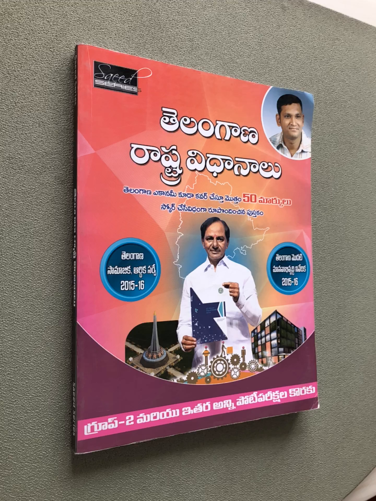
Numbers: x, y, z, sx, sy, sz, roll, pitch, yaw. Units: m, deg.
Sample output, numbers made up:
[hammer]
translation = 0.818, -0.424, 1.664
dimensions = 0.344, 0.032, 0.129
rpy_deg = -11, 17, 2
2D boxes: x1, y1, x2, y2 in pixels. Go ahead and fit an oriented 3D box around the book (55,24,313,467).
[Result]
[book]
translation = 0.005, -0.004, 0.290
dimensions = 0.180, 0.030, 0.250
rpy_deg = 1, 87, -27
